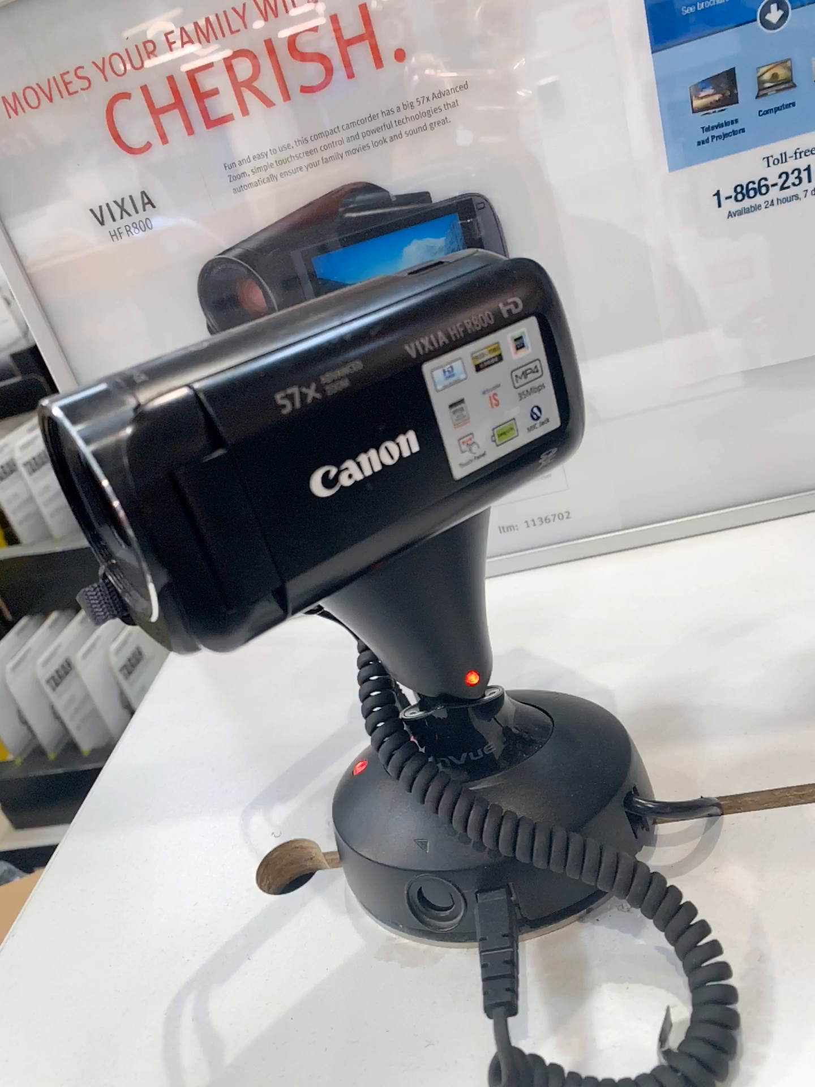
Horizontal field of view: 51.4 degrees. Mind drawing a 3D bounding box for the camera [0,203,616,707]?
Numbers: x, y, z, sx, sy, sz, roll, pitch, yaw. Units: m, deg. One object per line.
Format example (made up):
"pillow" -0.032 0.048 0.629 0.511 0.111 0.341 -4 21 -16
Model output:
"camera" -0.020 -0.027 0.184 0.125 0.050 0.050 -31 27 -25
